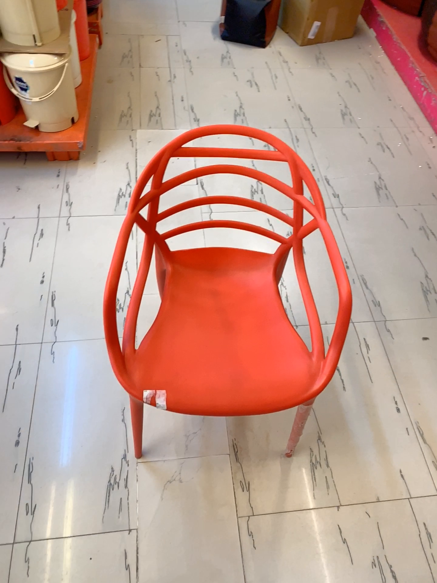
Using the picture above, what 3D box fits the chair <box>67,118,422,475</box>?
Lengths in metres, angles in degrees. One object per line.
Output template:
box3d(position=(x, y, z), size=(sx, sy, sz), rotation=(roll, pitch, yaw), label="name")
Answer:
box3d(position=(0.015, 0.046, 1.136), size=(0.550, 0.656, 0.634), rotation=(1, 54, -4), label="chair")
